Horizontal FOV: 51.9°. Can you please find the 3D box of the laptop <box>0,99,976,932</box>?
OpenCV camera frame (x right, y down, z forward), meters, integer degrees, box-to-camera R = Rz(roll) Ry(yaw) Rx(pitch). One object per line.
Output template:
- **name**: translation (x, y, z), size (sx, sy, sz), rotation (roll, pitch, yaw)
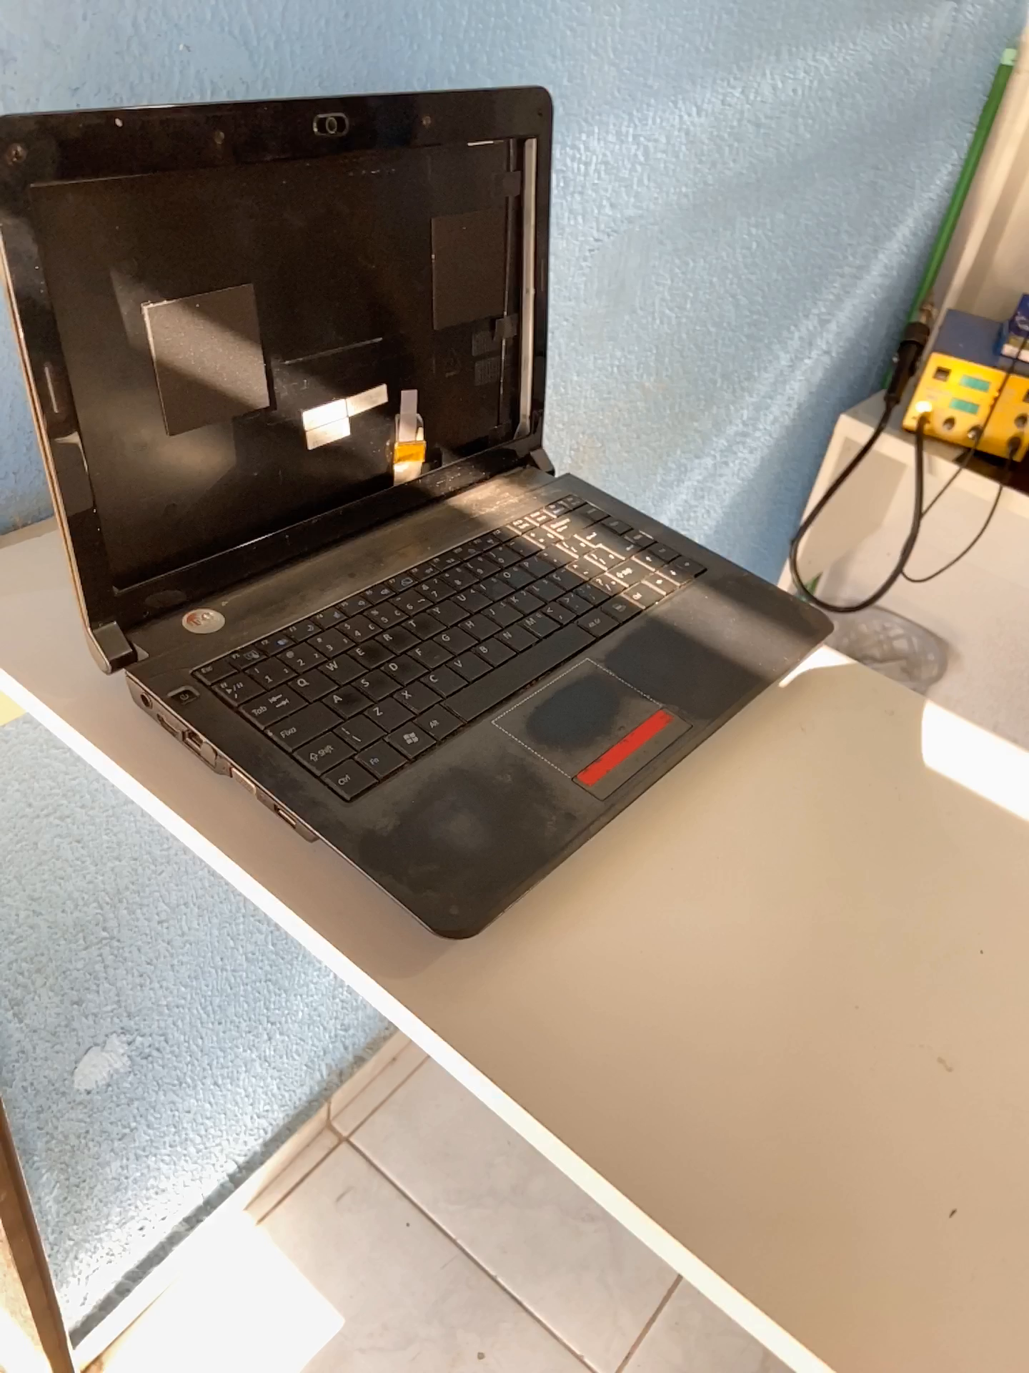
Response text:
- **laptop**: translation (-0.006, -0.123, 0.516), size (0.276, 0.216, 0.336), rotation (33, 43, 24)
